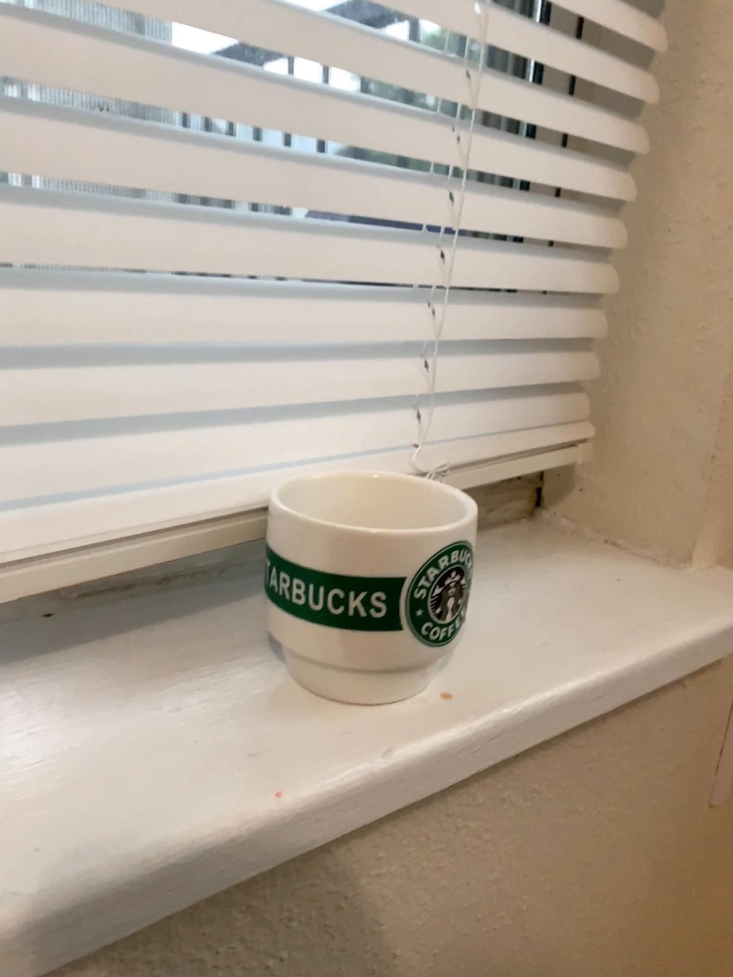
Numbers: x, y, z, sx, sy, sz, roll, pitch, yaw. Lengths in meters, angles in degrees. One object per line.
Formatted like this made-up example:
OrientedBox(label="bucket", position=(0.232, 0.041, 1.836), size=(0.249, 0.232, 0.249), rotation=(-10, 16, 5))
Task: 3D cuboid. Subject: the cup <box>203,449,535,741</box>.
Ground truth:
OrientedBox(label="cup", position=(0.005, 0.028, 0.270), size=(0.070, 0.060, 0.100), rotation=(13, 17, 31))
